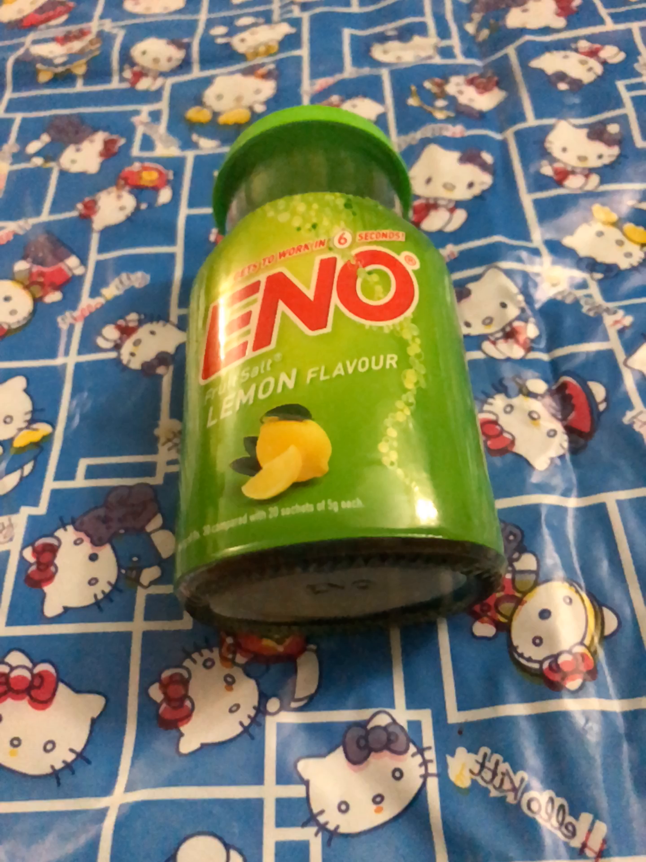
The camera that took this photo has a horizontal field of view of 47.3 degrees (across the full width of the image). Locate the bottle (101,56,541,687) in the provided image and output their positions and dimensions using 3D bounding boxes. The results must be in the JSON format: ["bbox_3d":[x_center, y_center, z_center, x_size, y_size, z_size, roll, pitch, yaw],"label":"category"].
[{"bbox_3d":[-0.002,-0.013,0.148,0.060,0.050,0.110,-7,61,4],"label":"bottle"}]
